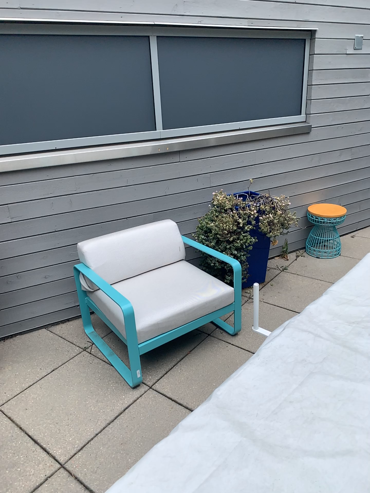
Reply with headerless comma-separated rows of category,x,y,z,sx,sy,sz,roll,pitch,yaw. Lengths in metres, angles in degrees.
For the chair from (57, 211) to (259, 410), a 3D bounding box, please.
chair,-0.181,0.307,2.538,0.970,0.736,0.905,-17,26,-31
